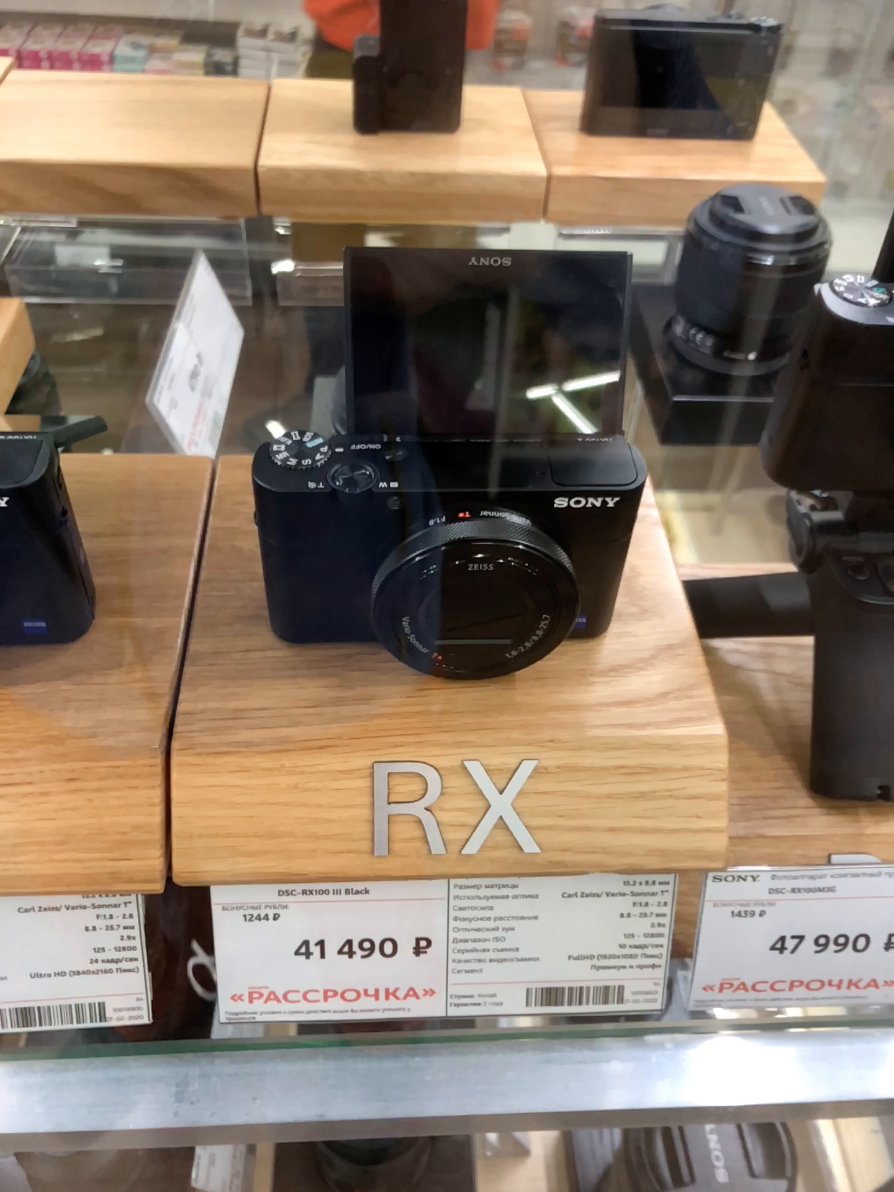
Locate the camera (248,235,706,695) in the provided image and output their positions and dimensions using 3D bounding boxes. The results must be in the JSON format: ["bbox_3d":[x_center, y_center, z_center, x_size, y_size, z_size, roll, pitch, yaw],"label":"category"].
[{"bbox_3d":[0.003,-0.030,0.277,0.100,0.119,0.050,0,45,-4],"label":"camera"}]

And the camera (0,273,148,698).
[{"bbox_3d":[-0.146,-0.032,0.272,0.101,0.067,0.097,0,45,-4],"label":"camera"}]
